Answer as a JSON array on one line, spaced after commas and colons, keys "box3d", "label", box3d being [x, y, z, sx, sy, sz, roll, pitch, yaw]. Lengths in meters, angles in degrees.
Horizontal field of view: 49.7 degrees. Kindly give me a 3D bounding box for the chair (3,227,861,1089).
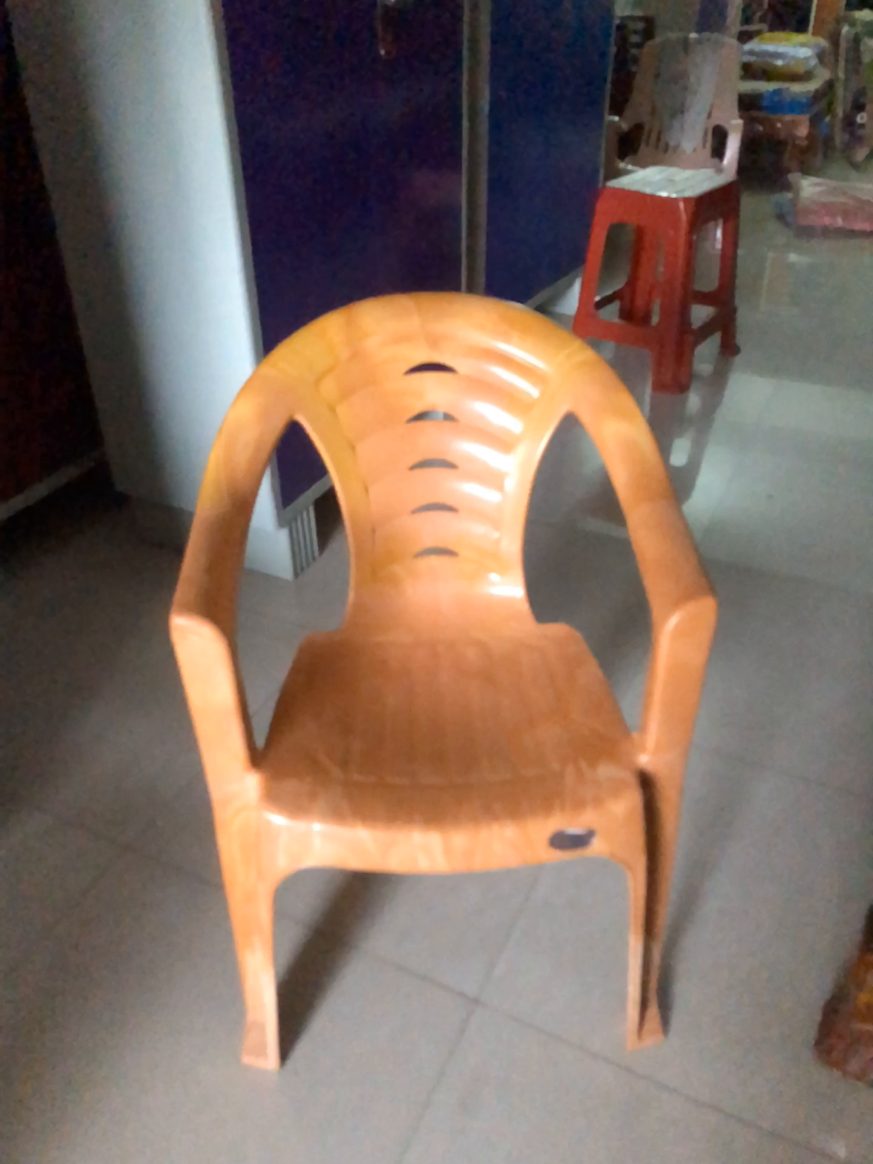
[{"box3d": [-0.006, 0.082, 1.176, 0.630, 0.845, 0.603, -3, 34, -2], "label": "chair"}]
